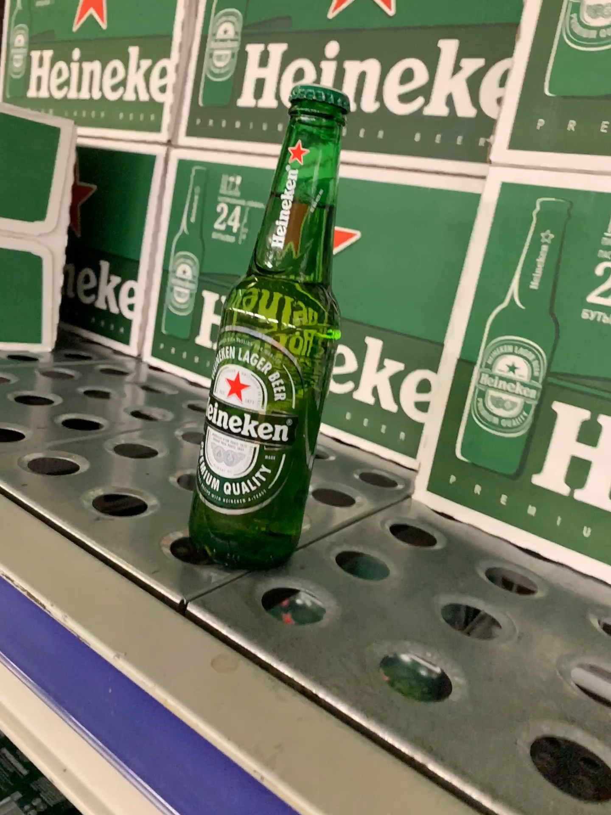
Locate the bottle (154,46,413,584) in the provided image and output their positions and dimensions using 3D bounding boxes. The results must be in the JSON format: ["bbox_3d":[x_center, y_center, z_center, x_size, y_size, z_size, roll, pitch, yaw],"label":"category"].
[{"bbox_3d":[-0.014,-0.039,0.304,0.060,0.225,0.060,11,13,-3],"label":"bottle"}]
